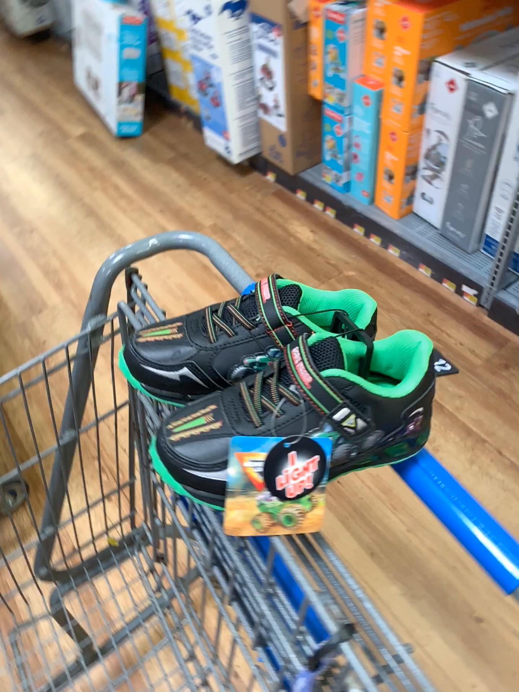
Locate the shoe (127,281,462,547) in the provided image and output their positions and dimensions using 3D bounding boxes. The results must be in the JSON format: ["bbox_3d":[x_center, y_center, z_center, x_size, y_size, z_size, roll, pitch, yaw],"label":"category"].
[{"bbox_3d":[0.022,0.046,0.377,0.194,0.093,0.095,-18,50,-8],"label":"shoe"}]

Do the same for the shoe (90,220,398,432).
[{"bbox_3d":[-0.014,-0.017,0.421,0.213,0.086,0.090,-13,49,-4],"label":"shoe"}]
